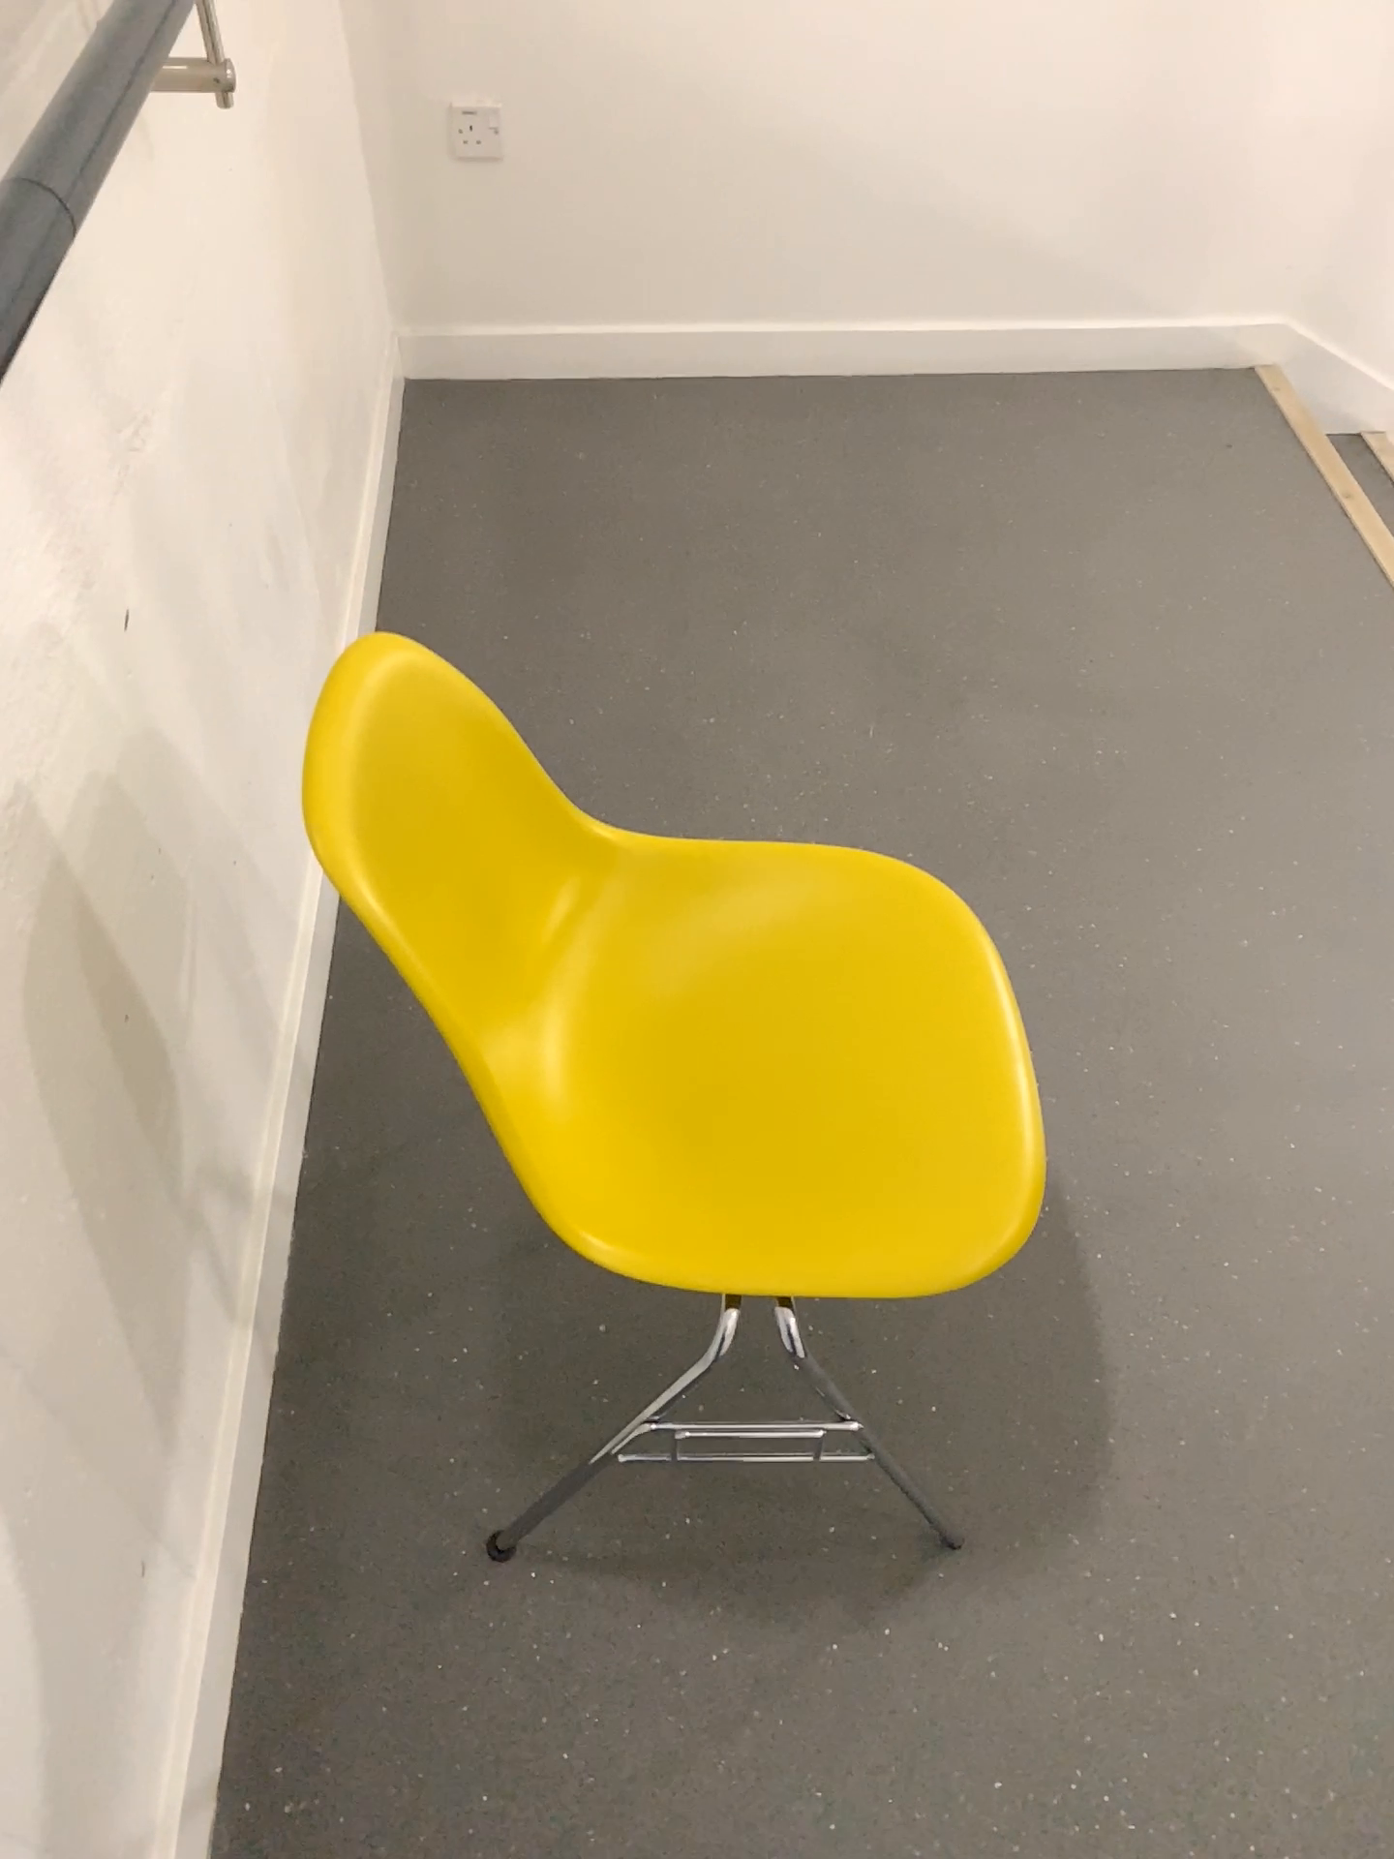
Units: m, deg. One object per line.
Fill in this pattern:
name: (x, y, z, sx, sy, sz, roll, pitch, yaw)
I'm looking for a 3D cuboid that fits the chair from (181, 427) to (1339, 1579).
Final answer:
chair: (0.020, 0.088, 1.165, 0.560, 0.734, 0.625, -1, 49, -2)
